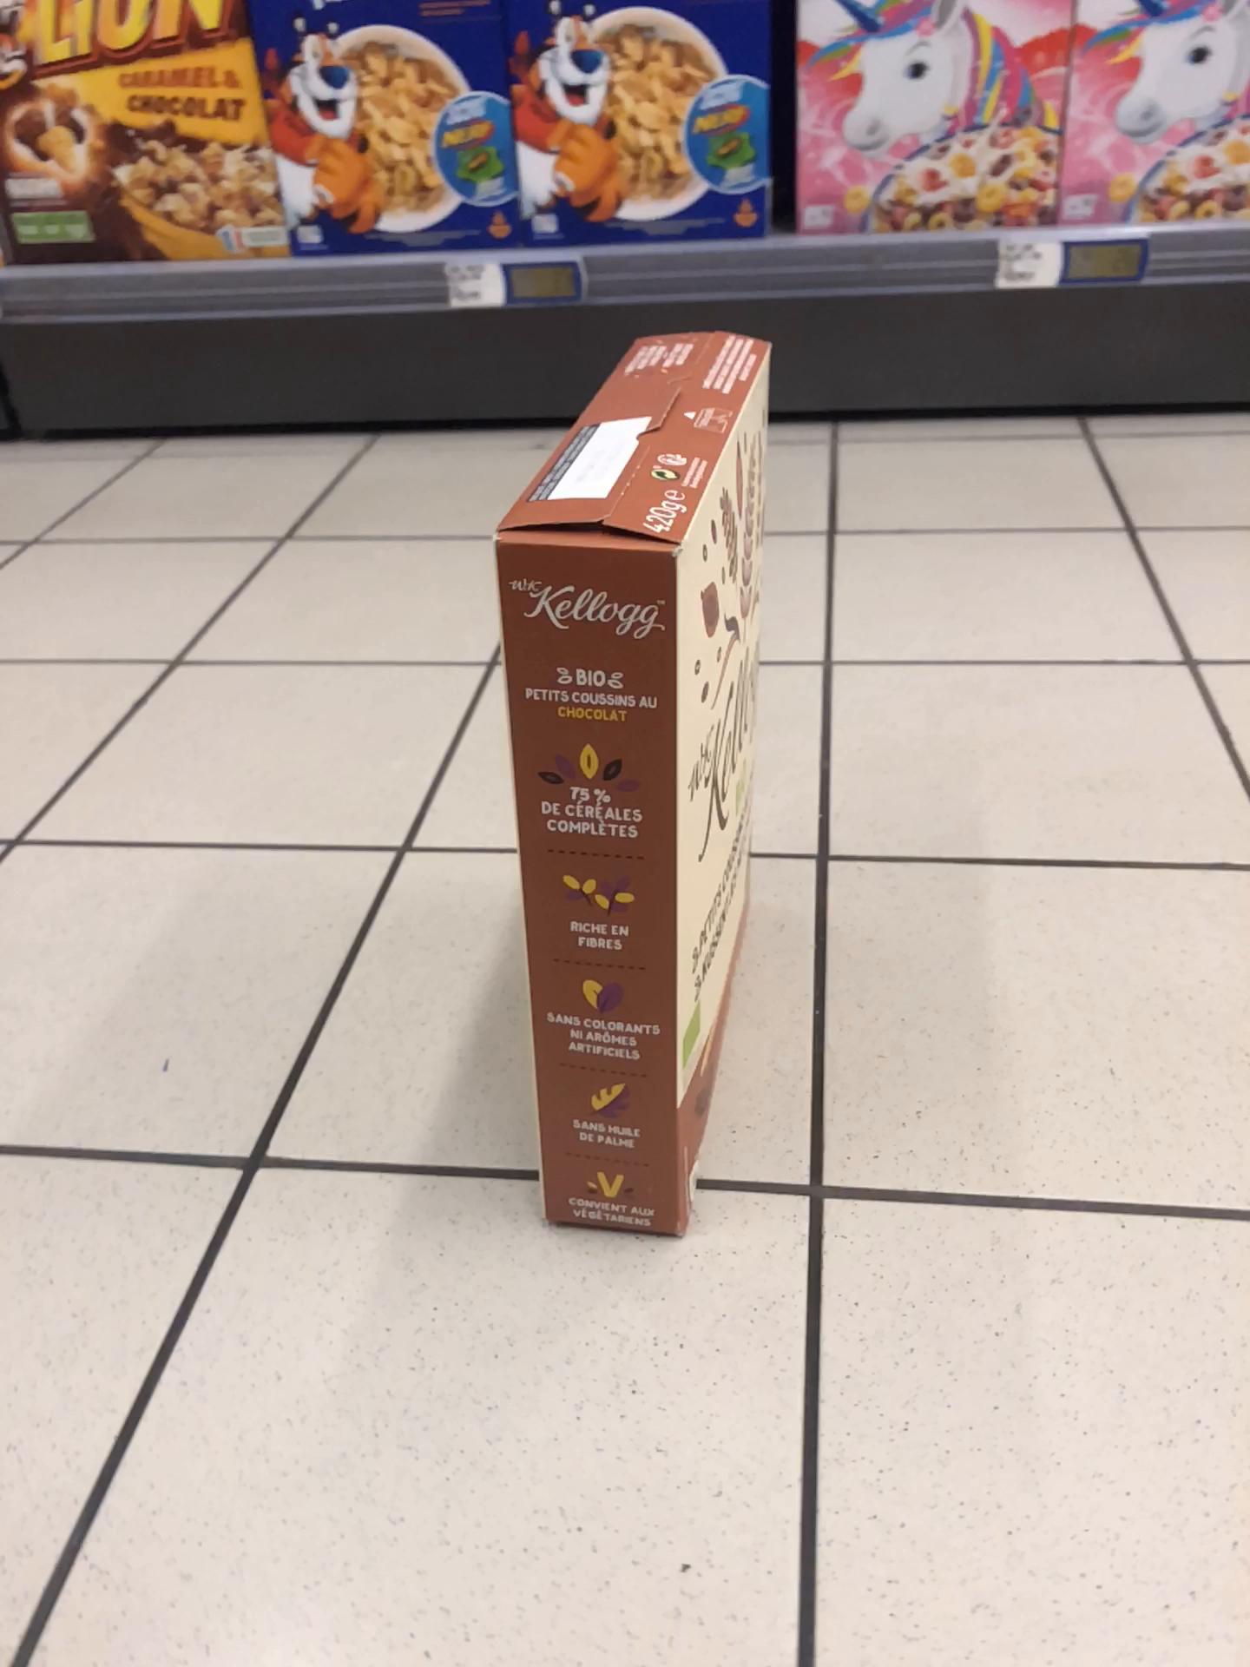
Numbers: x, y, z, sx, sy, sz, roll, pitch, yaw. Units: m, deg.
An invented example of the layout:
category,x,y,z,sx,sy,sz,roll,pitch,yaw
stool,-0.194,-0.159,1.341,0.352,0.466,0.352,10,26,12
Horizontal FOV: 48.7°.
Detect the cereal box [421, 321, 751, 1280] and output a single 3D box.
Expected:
category,x,y,z,sx,sy,sz,roll,pitch,yaw
cereal box,0.000,-0.018,0.462,0.050,0.248,0.201,6,33,10
